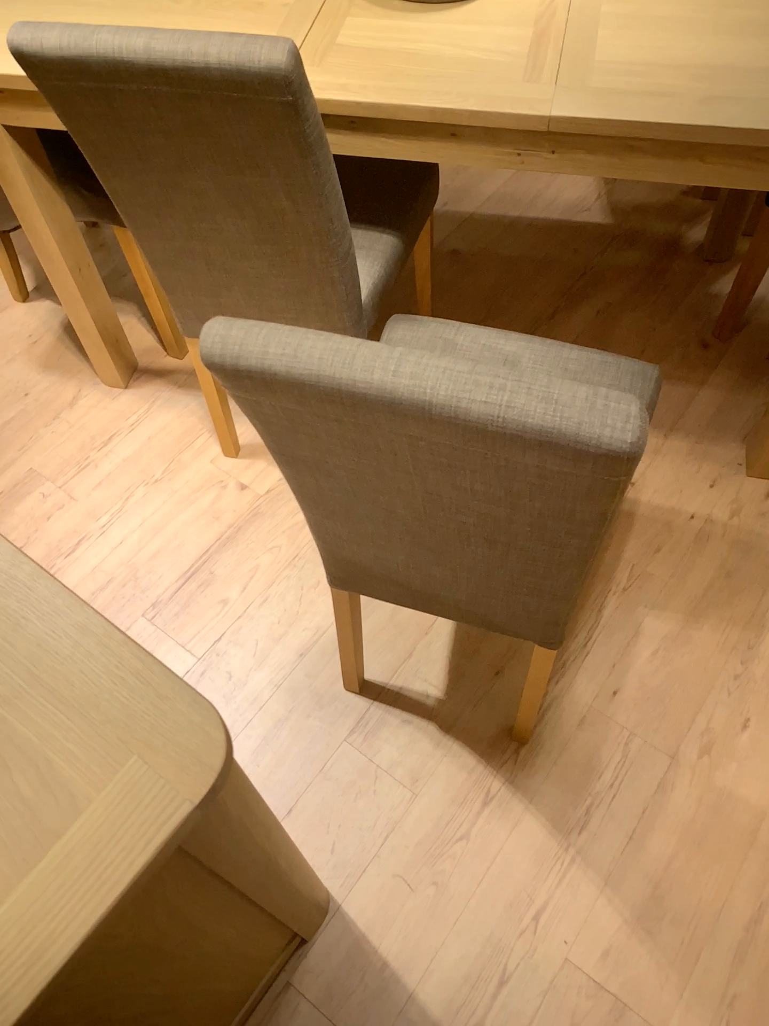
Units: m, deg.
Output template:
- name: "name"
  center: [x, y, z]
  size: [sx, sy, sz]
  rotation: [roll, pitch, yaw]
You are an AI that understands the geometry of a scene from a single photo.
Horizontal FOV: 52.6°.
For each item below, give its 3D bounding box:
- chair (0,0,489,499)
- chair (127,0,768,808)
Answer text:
- name: "chair"
  center: [-0.136, -0.487, 1.305]
  size: [0.497, 0.766, 0.507]
  rotation: [10, 57, 10]
- name: "chair"
  center: [0.160, -0.088, 1.055]
  size: [0.507, 0.885, 0.607]
  rotation: [14, 58, 12]
